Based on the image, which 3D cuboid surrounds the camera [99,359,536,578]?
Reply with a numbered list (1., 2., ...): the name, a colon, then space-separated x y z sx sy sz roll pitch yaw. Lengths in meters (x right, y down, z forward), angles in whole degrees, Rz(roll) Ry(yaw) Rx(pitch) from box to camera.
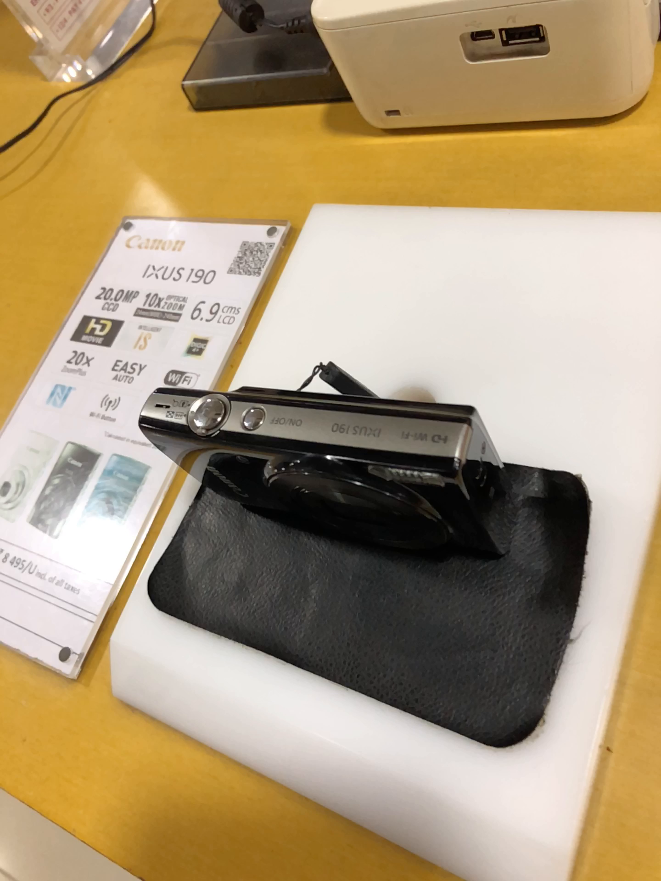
1. camera: -0.003 0.006 0.195 0.100 0.050 0.030 6 66 27
